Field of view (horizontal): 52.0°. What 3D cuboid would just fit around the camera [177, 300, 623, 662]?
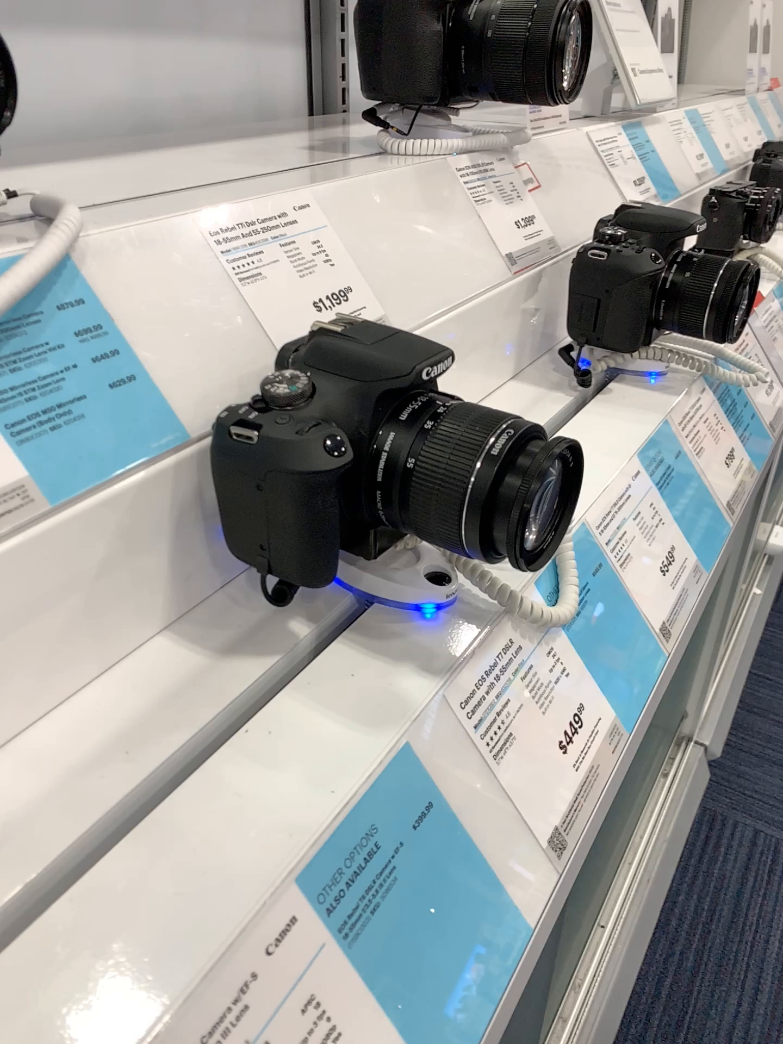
[{"bbox_3d":[0.009,-0.032,0.370,0.150,0.090,0.131,16,34,24],"label":"camera"}]
